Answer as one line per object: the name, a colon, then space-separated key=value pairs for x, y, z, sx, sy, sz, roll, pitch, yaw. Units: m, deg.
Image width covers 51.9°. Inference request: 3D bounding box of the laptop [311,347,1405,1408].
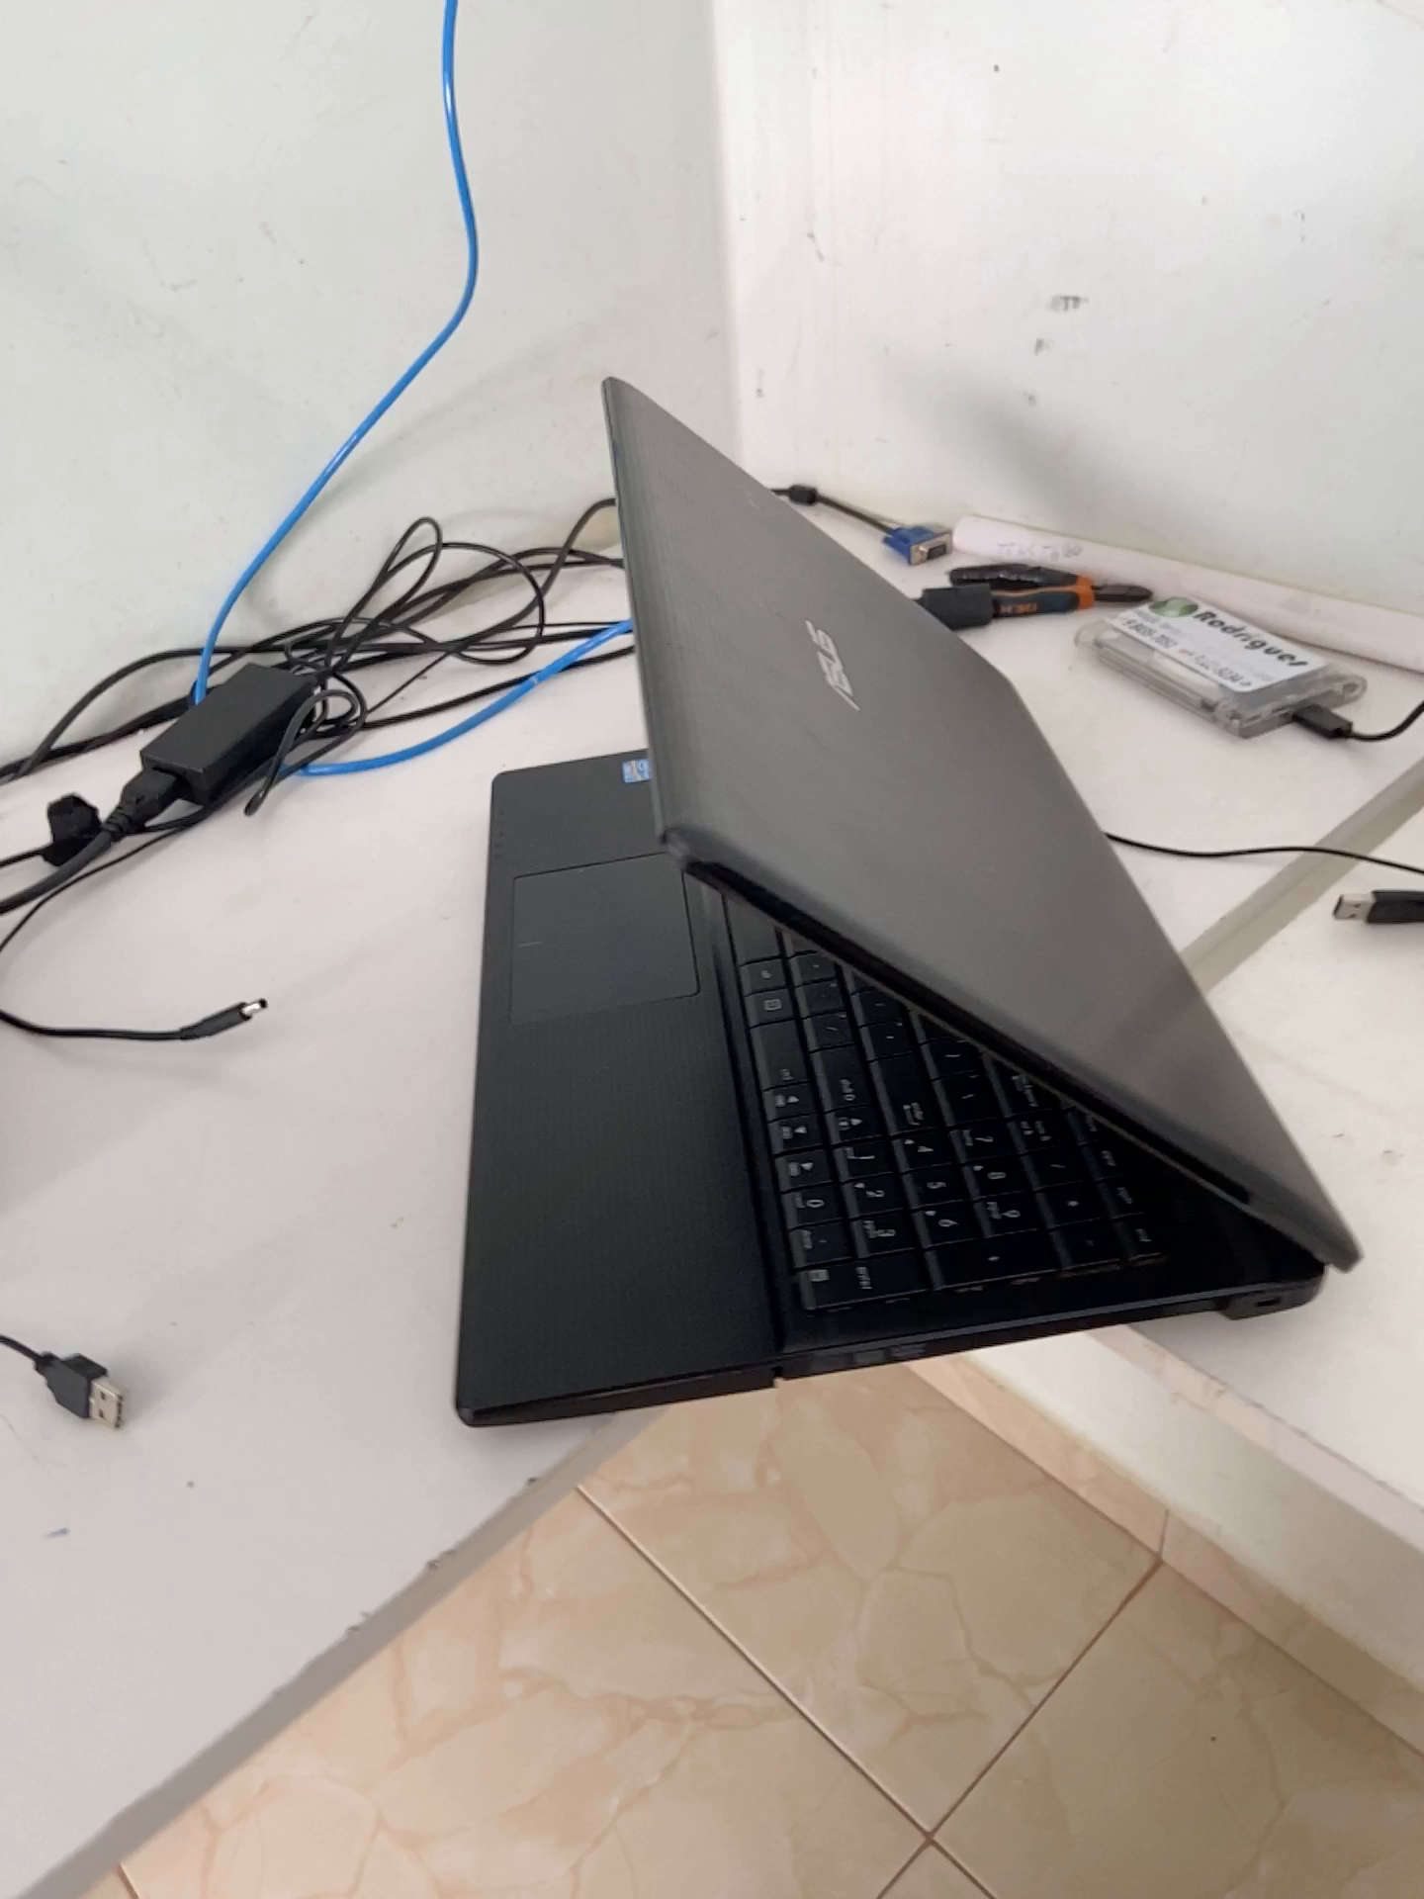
laptop: x=0.020 y=-0.064 z=0.527 sx=0.246 sy=0.166 sz=0.378 roll=-9 pitch=35 yaw=0
